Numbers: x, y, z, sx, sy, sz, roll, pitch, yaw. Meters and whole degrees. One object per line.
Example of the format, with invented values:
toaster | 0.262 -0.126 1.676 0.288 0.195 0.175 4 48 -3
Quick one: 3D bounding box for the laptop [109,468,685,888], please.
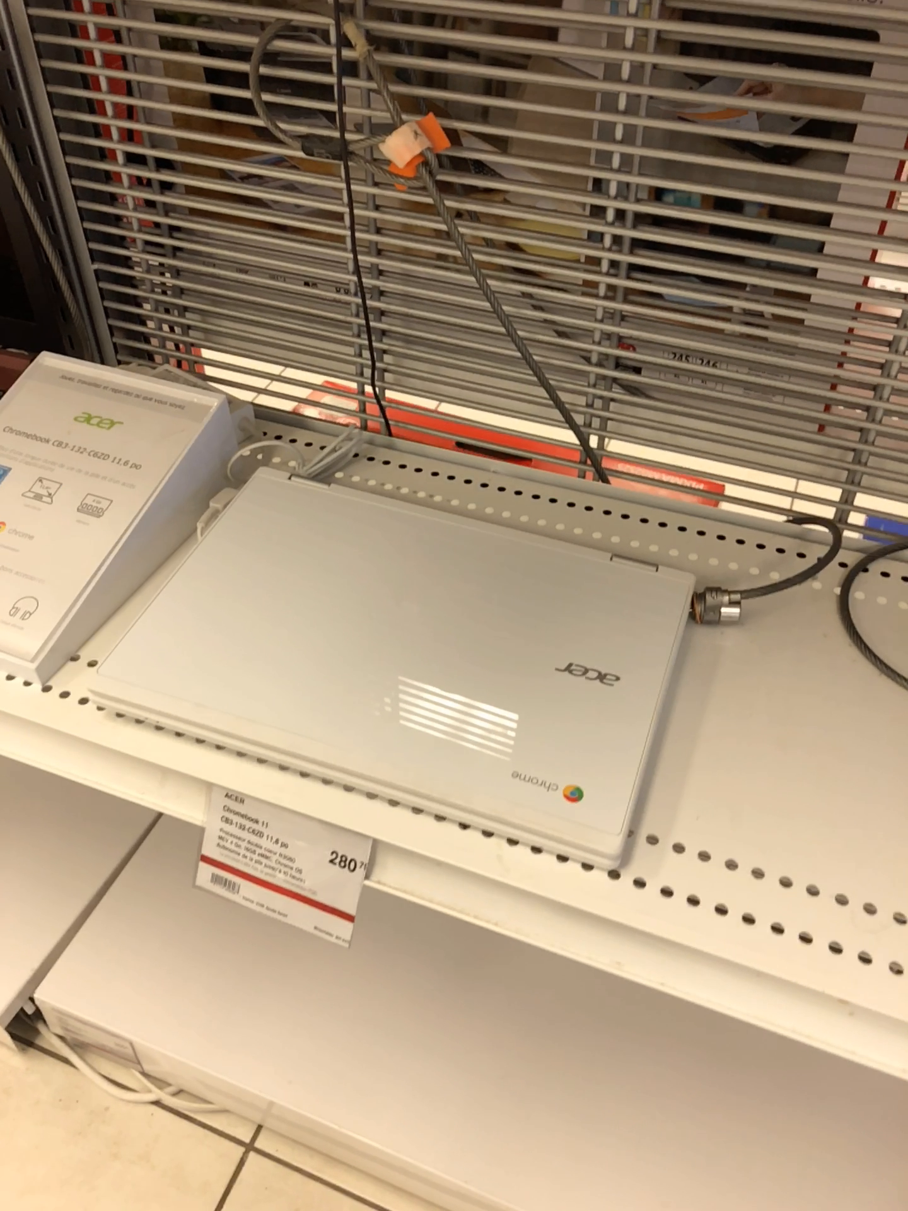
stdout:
laptop | -0.028 0.024 0.576 0.286 0.024 0.184 15 54 15
